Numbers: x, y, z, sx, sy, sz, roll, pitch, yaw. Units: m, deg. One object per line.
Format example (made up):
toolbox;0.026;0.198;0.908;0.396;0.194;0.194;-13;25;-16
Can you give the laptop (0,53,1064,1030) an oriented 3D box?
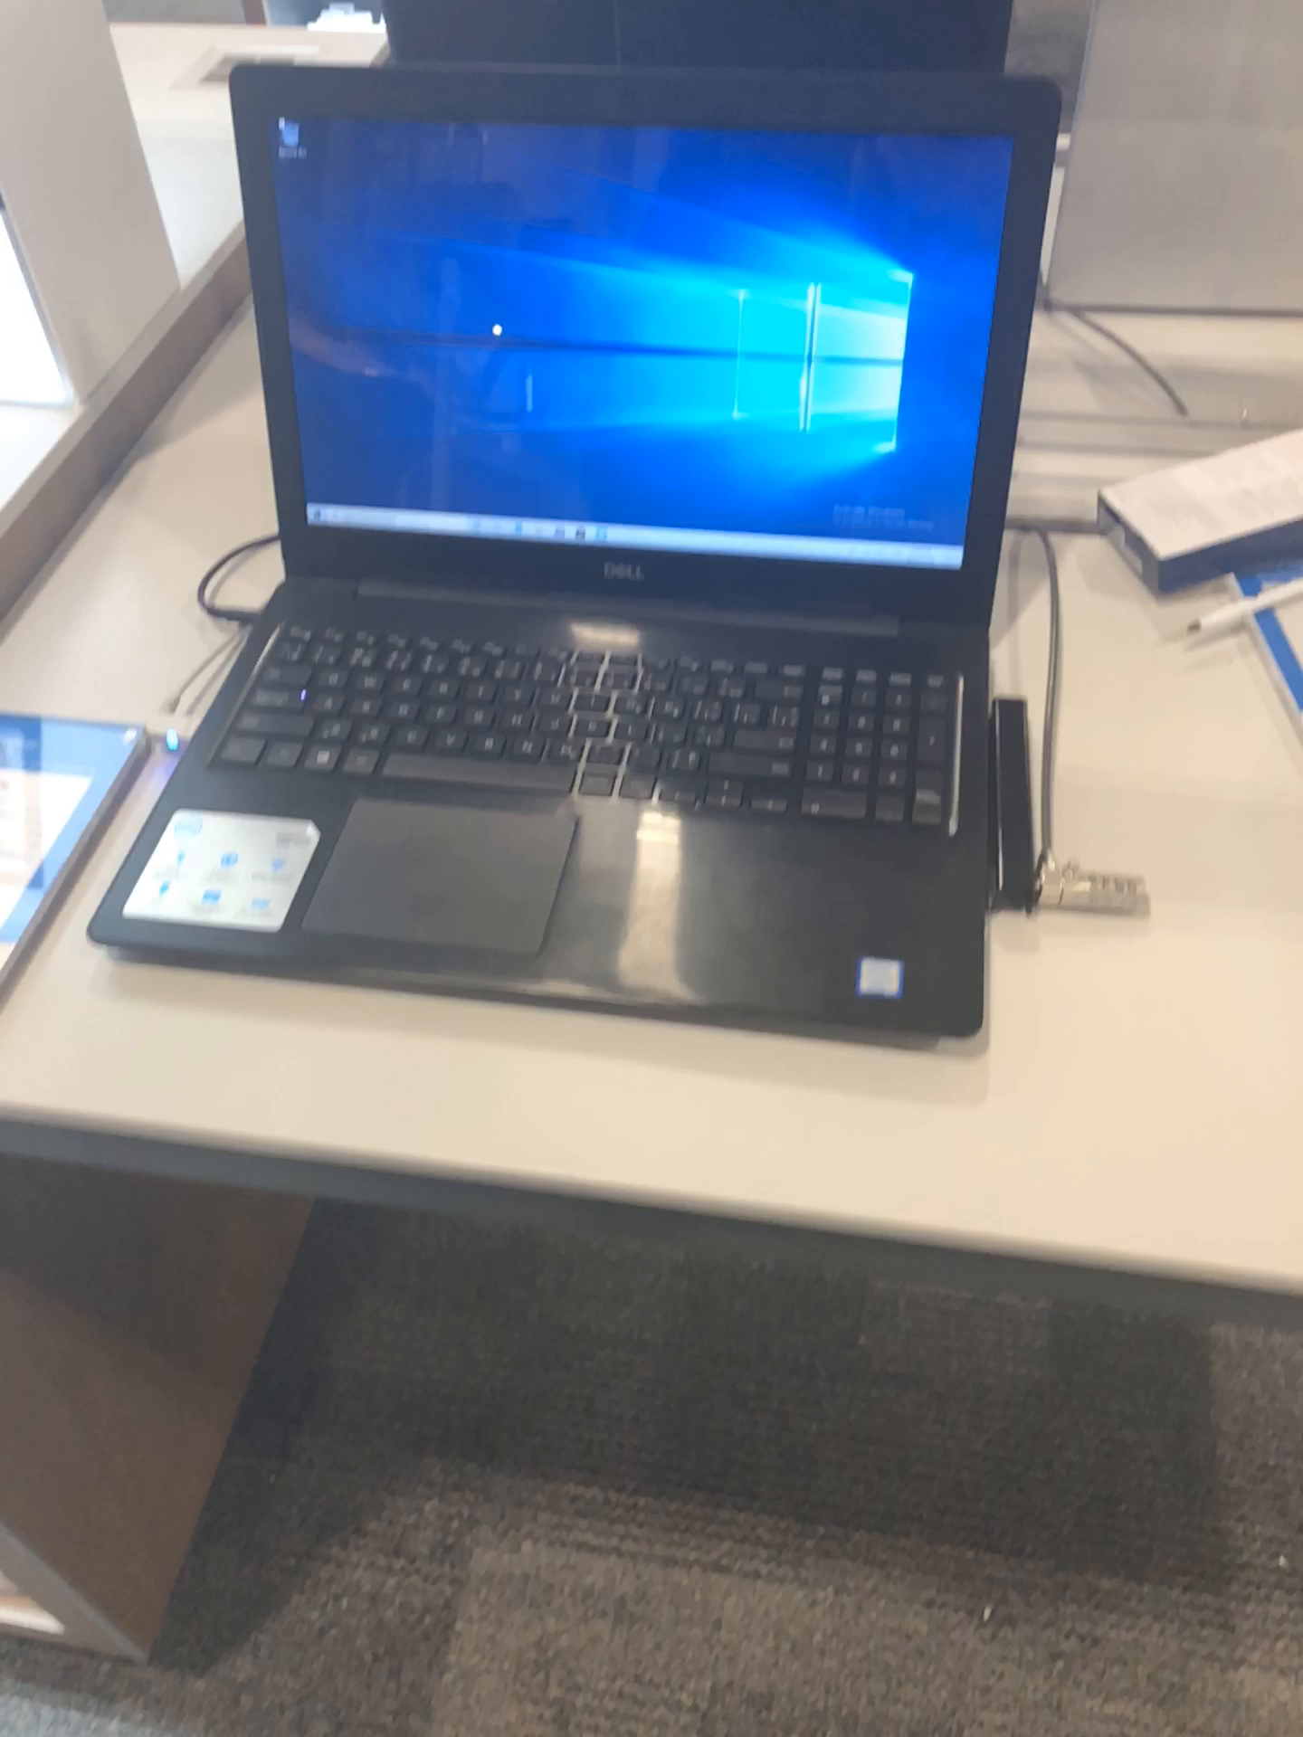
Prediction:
laptop;-0.032;-0.158;0.615;0.364;0.224;0.337;5;50;9
